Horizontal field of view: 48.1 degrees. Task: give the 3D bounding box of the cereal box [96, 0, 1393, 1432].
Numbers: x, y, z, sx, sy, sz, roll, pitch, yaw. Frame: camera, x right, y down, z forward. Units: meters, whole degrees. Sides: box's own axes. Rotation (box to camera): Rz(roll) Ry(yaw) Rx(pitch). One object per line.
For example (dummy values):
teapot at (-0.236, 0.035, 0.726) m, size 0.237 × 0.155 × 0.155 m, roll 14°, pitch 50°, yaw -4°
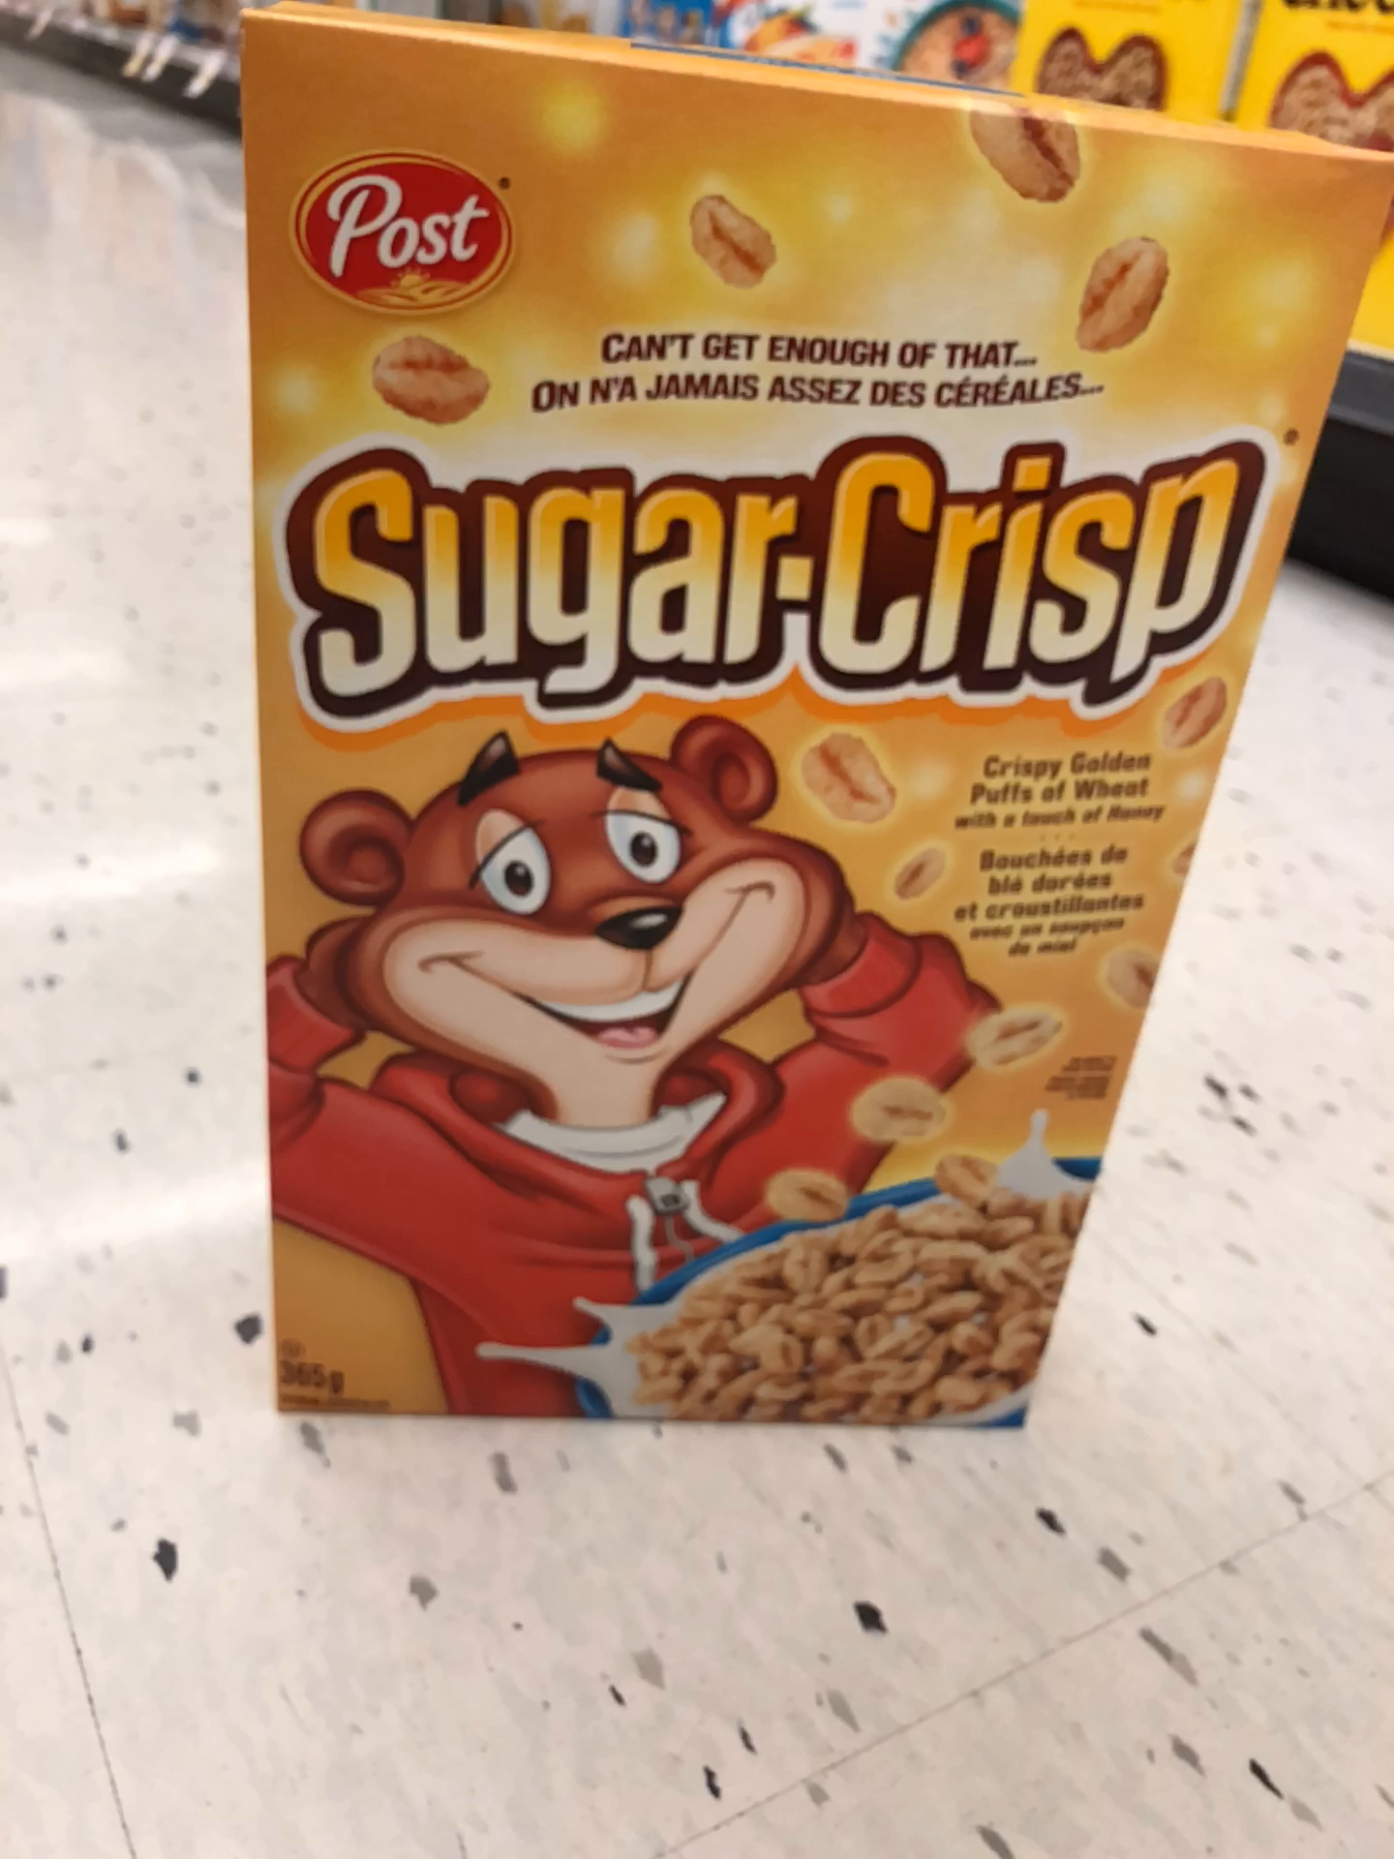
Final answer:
cereal box at (0.000, -0.025, 0.330) m, size 0.210 × 0.298 × 0.060 m, roll 3°, pitch 29°, yaw -8°
